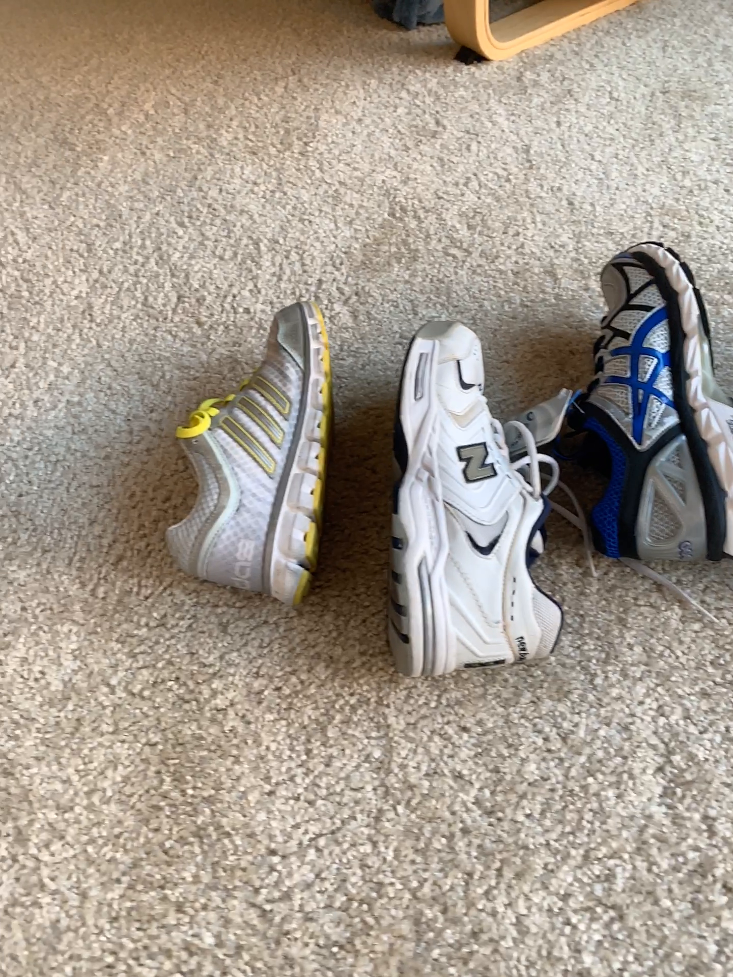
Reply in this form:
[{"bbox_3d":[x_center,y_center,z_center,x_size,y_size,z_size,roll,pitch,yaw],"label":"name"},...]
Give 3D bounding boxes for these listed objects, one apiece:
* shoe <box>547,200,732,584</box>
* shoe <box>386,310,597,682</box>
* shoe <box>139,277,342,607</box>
[{"bbox_3d":[0.208,-0.078,0.529,0.130,0.070,0.281,0,60,5],"label":"shoe"},{"bbox_3d":[0.063,0.001,0.471,0.100,0.119,0.201,0,53,1],"label":"shoe"},{"bbox_3d":[-0.081,-0.040,0.580,0.110,0.119,0.231,0,54,2],"label":"shoe"}]
